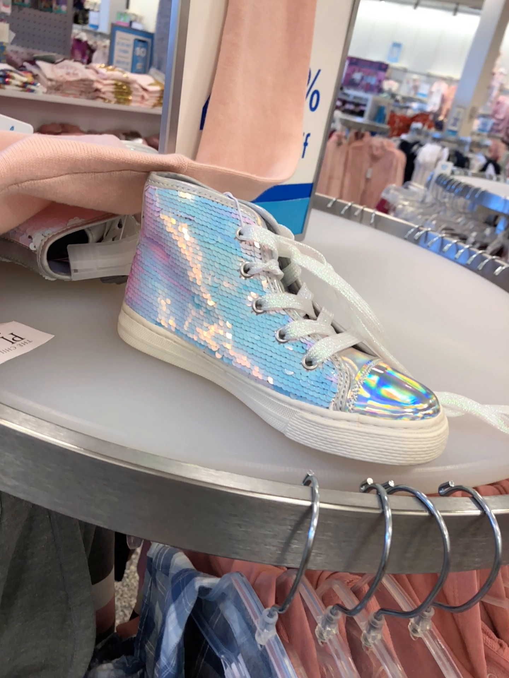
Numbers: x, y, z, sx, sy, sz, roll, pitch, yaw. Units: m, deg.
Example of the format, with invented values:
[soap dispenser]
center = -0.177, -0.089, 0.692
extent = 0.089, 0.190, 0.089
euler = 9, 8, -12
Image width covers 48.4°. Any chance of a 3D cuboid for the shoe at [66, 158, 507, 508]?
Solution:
[shoe]
center = 0.007, -0.021, 0.318
extent = 0.211, 0.105, 0.090
euler = 25, 27, 23
